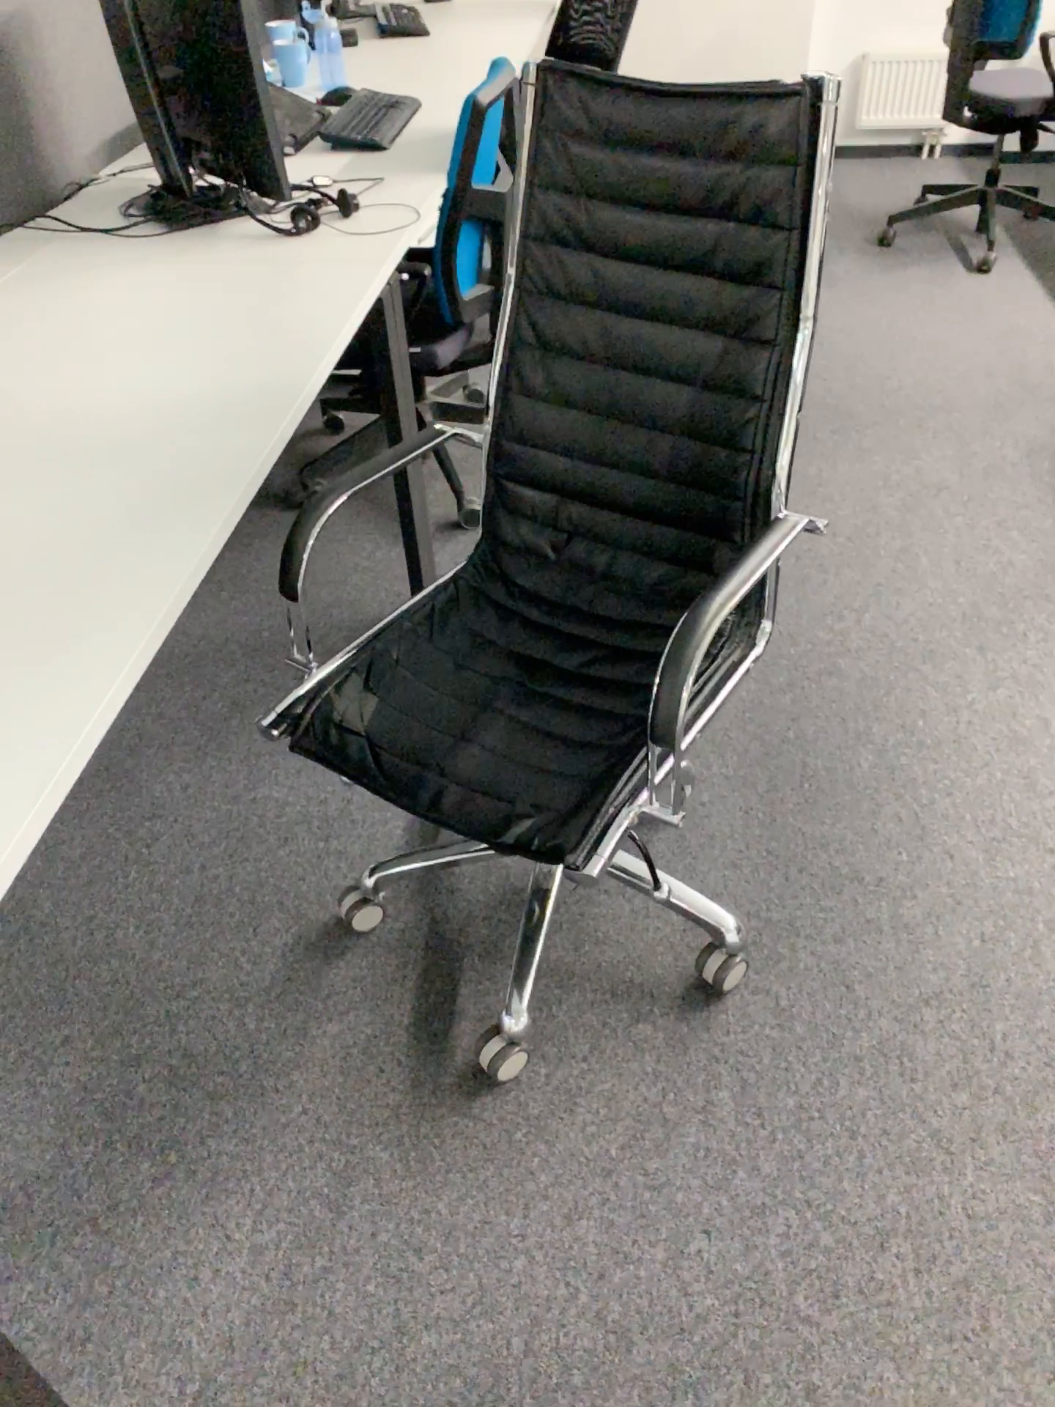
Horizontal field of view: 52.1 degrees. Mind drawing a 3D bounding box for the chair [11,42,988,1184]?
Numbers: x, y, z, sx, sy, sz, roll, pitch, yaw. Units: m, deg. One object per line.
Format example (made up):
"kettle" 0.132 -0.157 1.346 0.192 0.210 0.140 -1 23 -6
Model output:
"chair" 0.022 -0.113 1.390 0.641 1.134 0.693 24 47 29
